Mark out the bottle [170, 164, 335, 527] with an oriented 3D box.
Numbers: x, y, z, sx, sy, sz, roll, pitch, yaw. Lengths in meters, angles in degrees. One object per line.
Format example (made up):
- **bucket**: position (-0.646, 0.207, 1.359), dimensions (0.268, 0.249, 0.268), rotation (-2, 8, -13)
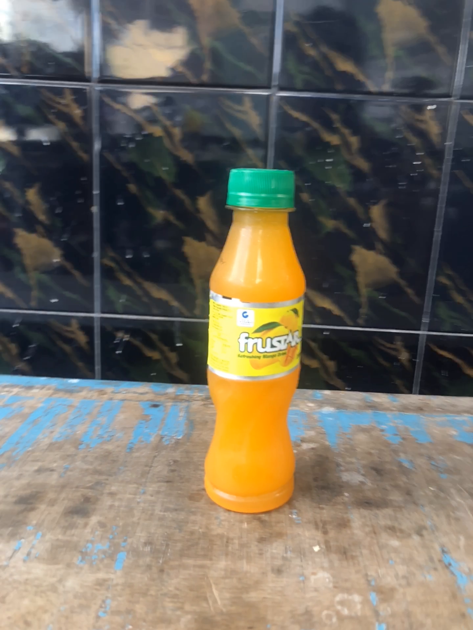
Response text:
- **bottle**: position (0.003, 0.013, 0.267), dimensions (0.060, 0.169, 0.050), rotation (-3, 16, -22)
